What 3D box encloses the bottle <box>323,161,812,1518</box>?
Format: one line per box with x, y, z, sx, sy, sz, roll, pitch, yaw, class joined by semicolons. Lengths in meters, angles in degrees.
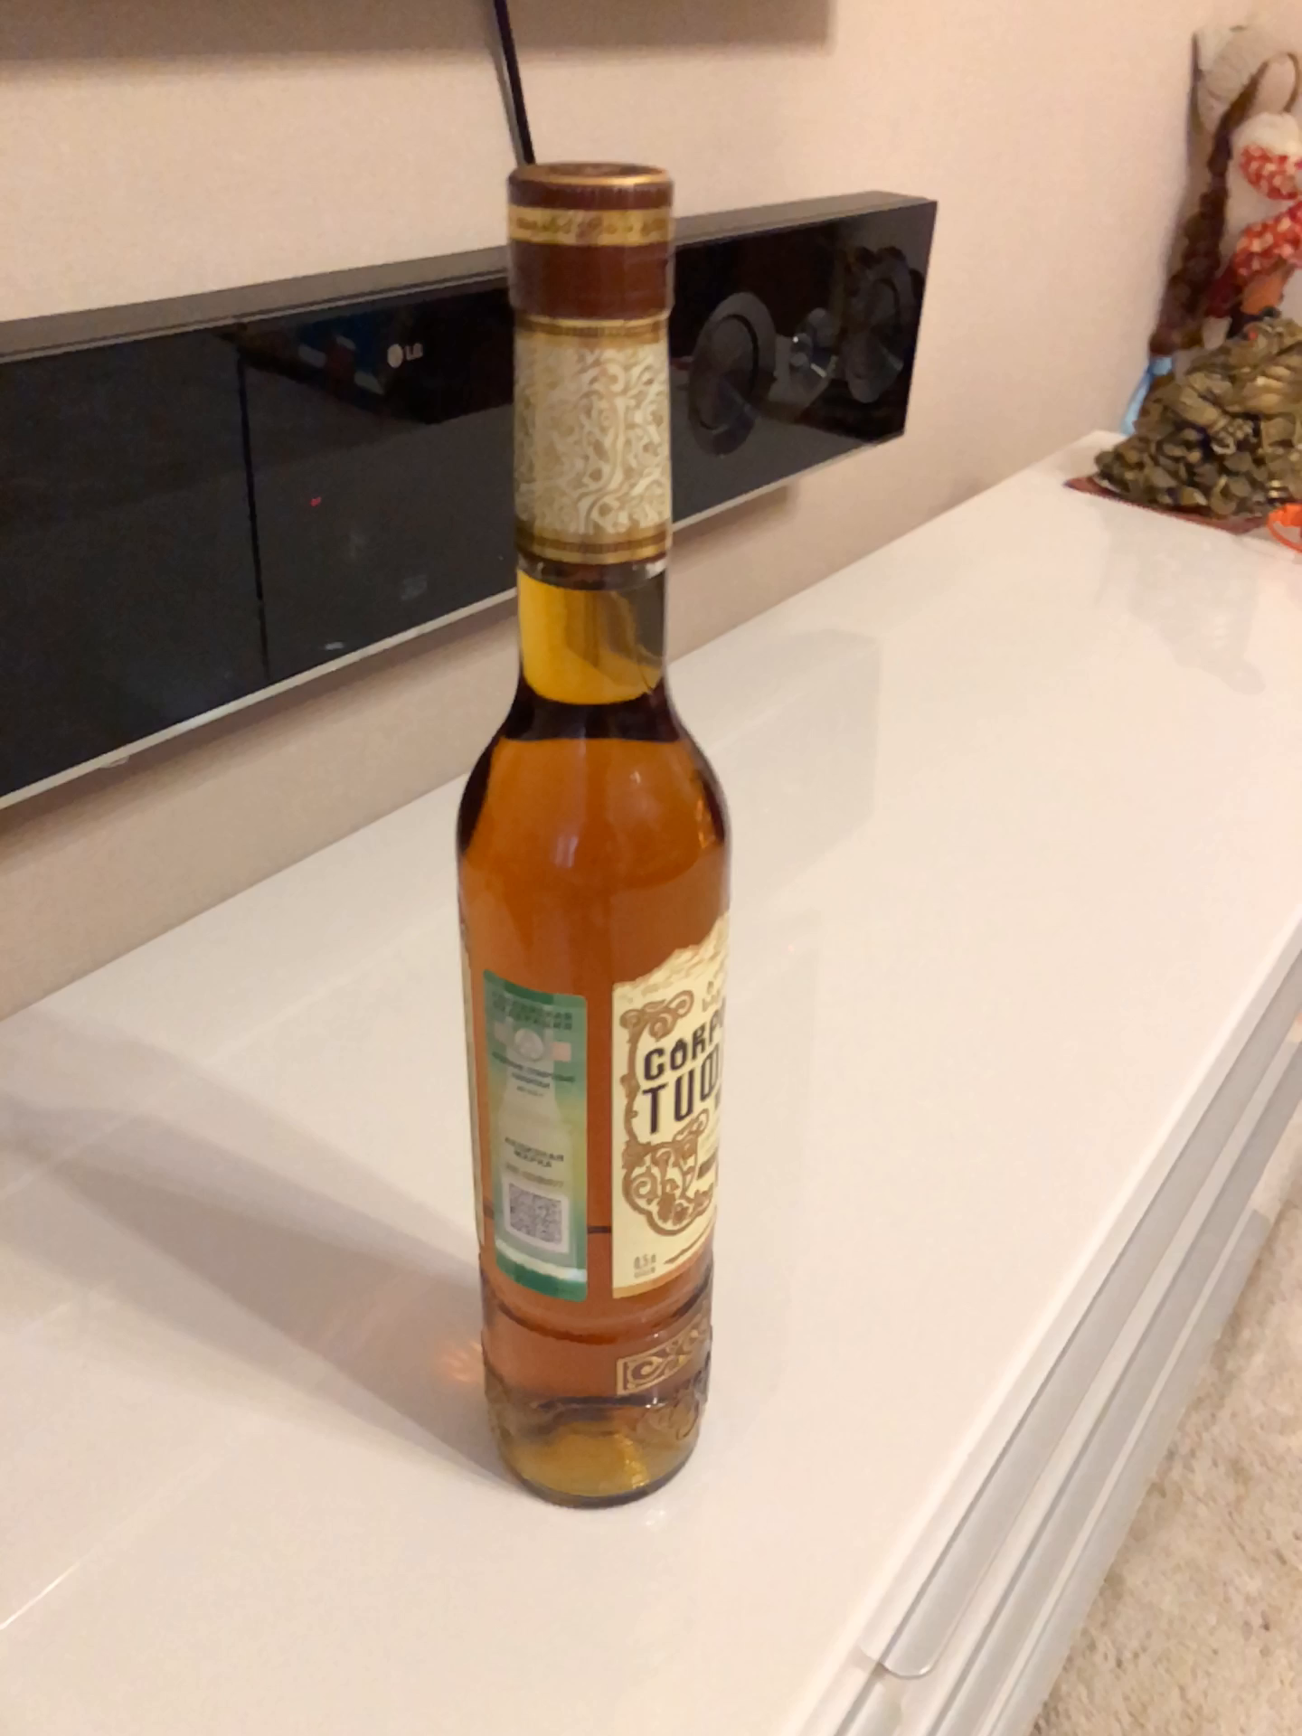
-0.012;0.014;0.327;0.070;0.308;0.071;1;30;0;bottle
